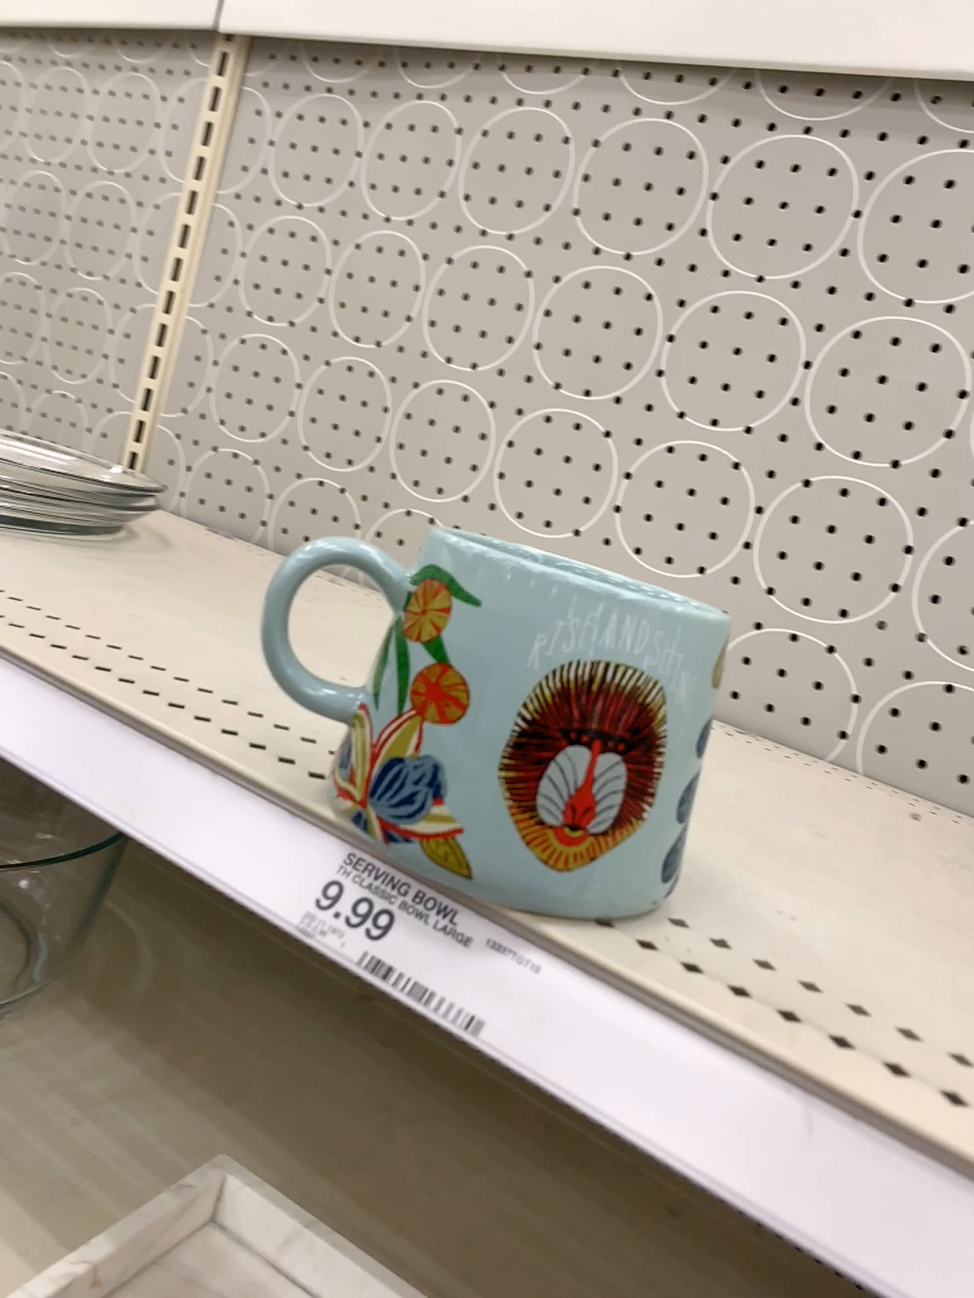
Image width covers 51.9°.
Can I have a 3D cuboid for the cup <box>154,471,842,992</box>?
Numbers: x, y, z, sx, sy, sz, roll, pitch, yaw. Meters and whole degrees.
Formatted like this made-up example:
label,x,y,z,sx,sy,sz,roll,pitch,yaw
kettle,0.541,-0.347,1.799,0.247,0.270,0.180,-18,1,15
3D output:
label,x,y,z,sx,sy,sz,roll,pitch,yaw
cup,-0.002,0.013,0.289,0.140,0.090,0.120,15,9,-9
